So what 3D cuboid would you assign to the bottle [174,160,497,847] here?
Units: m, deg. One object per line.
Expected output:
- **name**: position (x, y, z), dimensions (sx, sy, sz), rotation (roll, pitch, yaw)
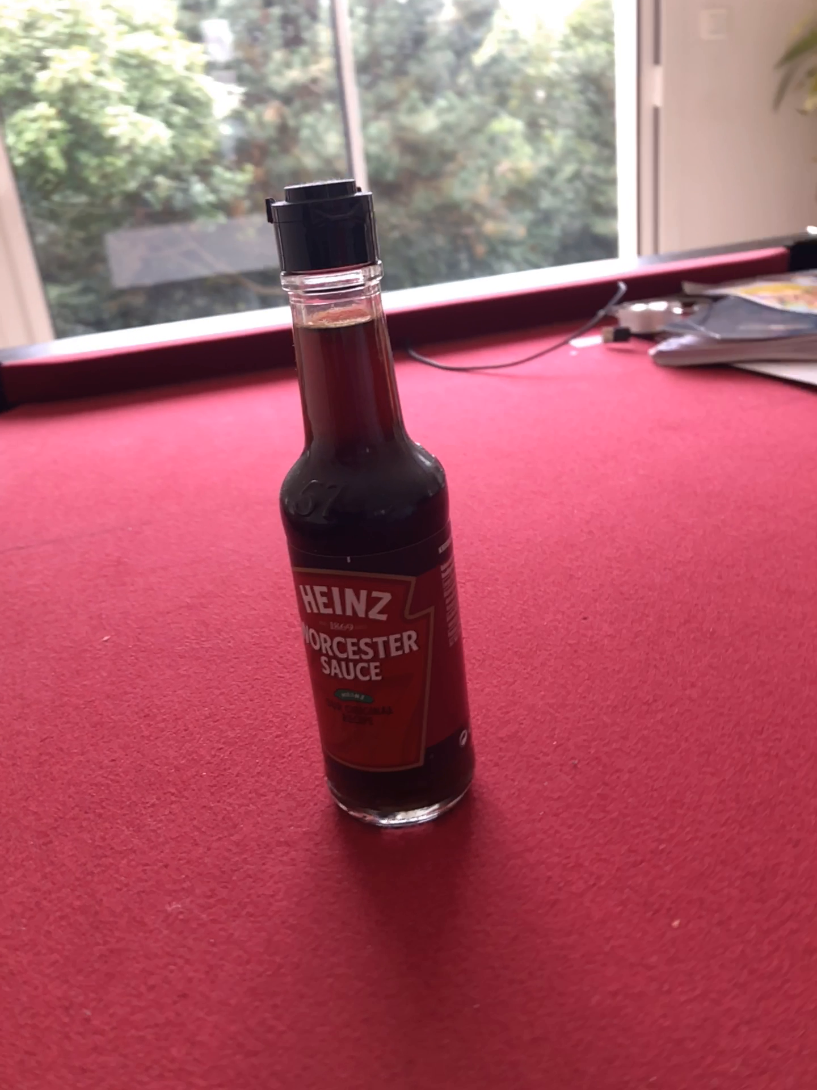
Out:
- **bottle**: position (-0.013, -0.008, 0.255), dimensions (0.050, 0.179, 0.050), rotation (-5, 22, 2)
